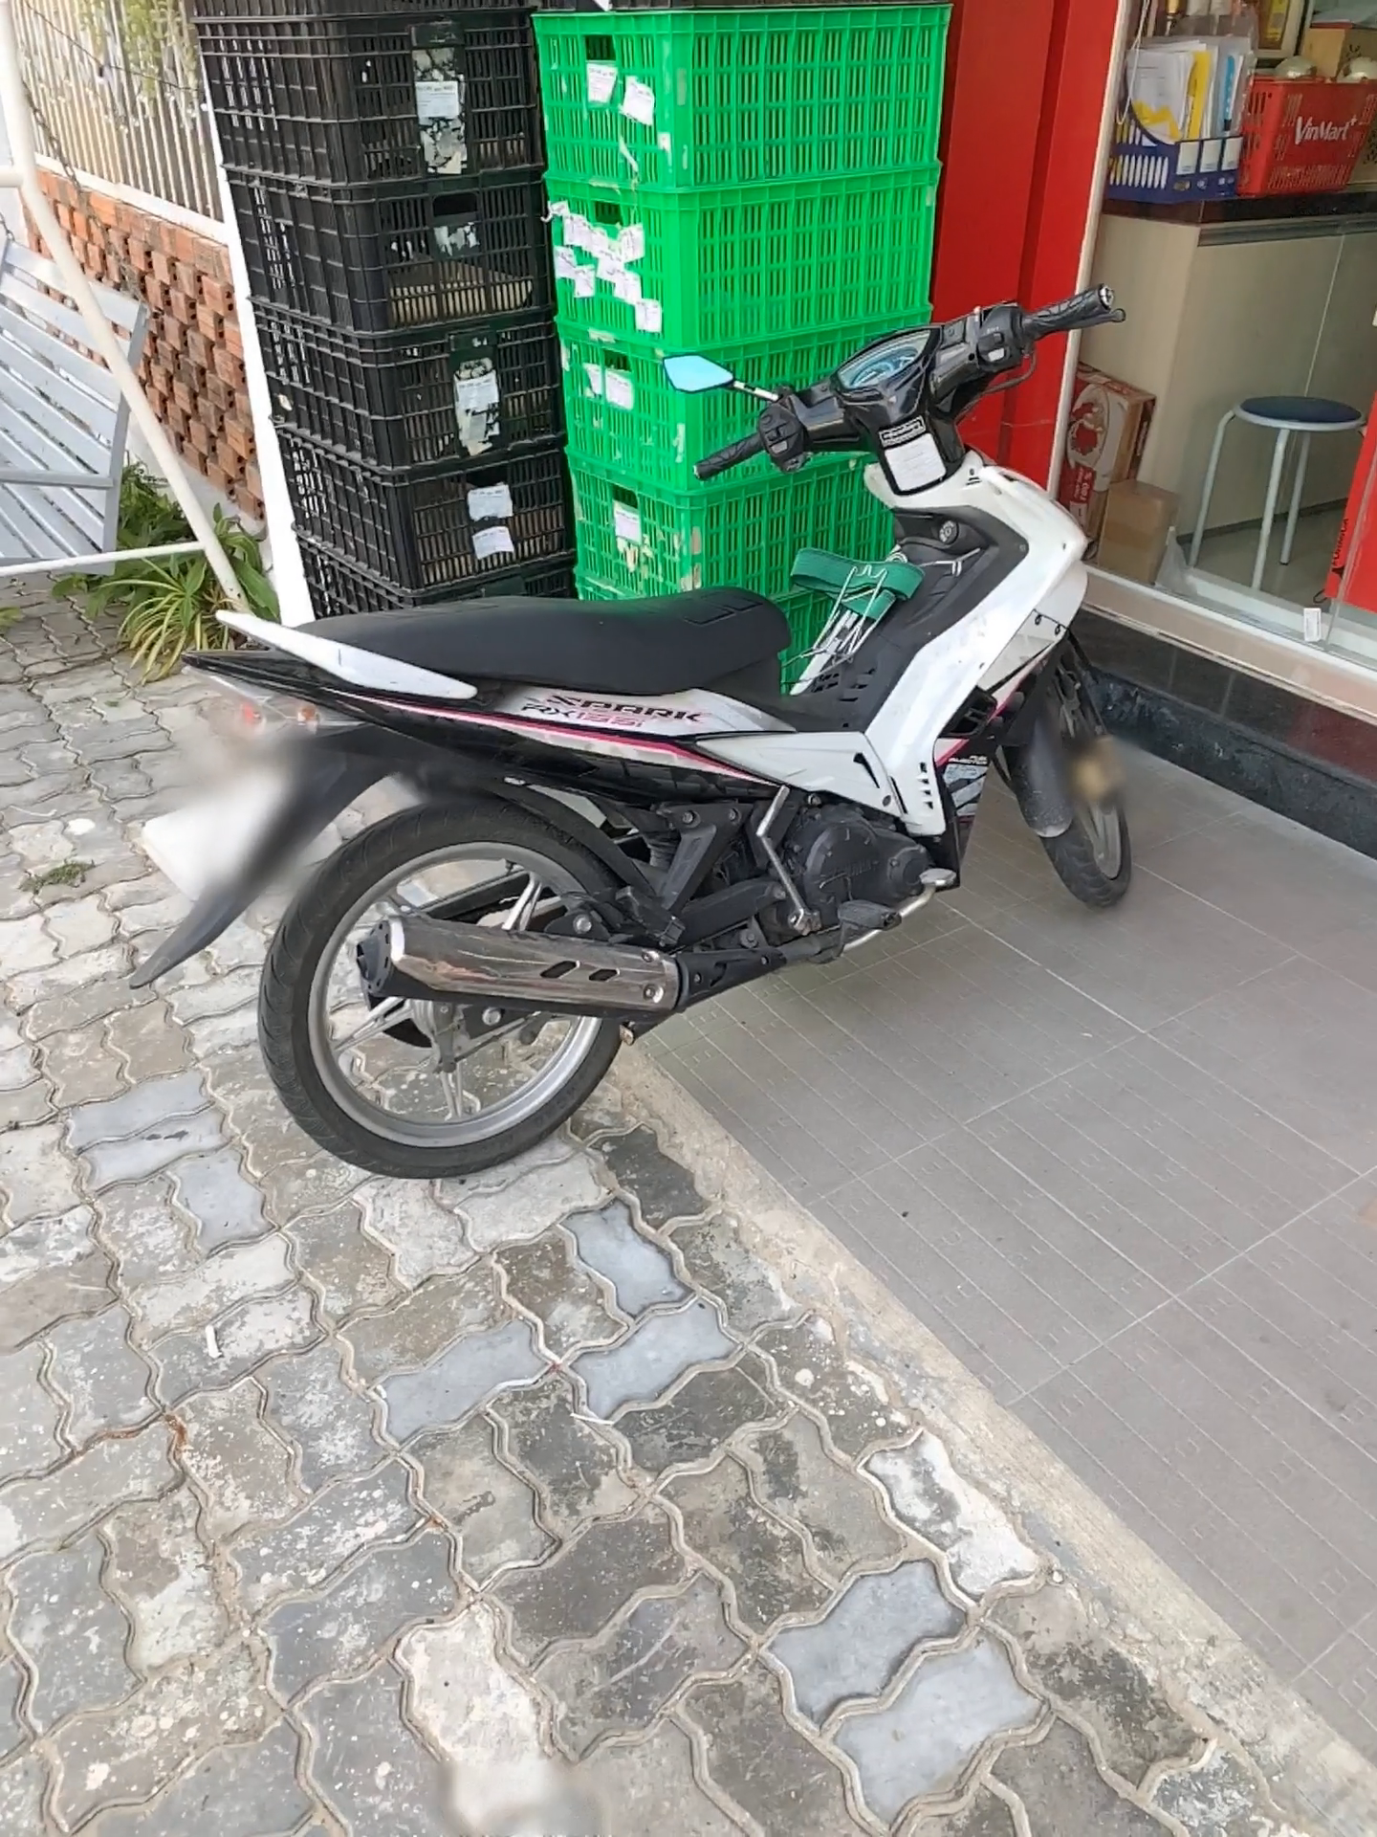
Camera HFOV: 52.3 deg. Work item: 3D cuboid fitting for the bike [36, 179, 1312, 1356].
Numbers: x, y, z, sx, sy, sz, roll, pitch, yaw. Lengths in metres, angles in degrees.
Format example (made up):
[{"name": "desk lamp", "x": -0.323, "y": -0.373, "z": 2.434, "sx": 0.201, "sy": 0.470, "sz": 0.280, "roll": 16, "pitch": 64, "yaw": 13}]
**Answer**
[{"name": "bike", "x": 0.090, "y": -0.411, "z": 2.272, "sx": 1.818, "sy": 1.186, "sz": 0.669, "roll": -25, "pitch": 40, "yaw": -32}]
